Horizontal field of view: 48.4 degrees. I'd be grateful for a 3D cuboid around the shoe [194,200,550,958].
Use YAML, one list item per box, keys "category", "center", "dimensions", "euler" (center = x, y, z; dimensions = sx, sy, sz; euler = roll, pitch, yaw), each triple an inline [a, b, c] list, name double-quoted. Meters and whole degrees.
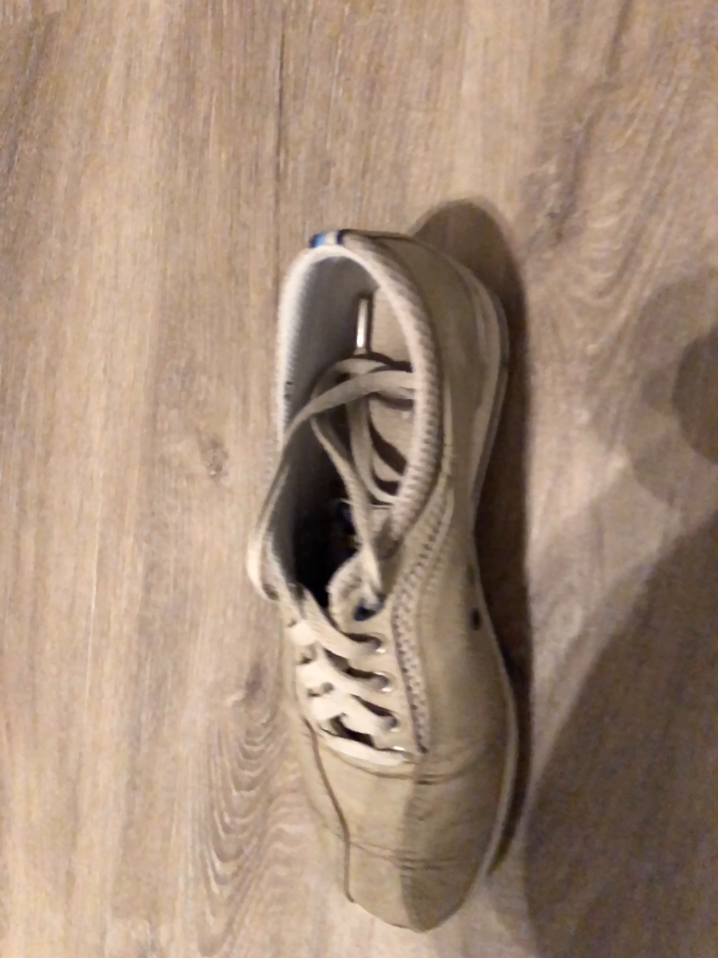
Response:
- category: "shoe"
  center: [0.005, 0.044, 0.280]
  dimensions: [0.090, 0.070, 0.250]
  euler: [4, 94, 31]
